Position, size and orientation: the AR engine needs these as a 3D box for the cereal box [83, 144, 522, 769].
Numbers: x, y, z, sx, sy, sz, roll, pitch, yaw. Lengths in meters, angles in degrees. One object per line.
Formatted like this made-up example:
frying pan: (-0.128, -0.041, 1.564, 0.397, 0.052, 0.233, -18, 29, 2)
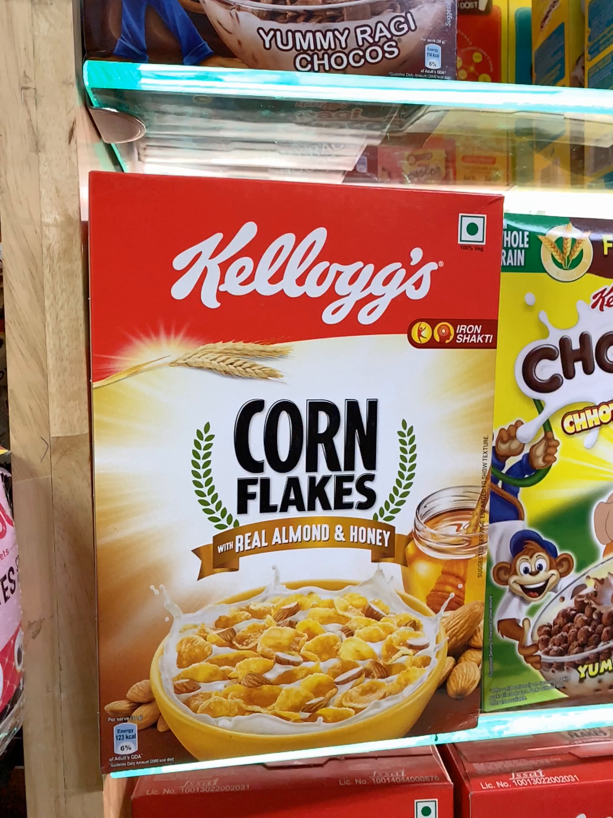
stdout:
cereal box: (-0.004, 0.019, 0.291, 0.170, 0.239, 0.070, 0, 7, -11)
